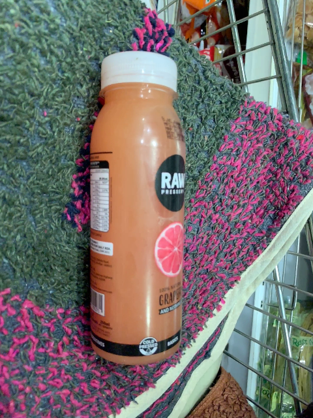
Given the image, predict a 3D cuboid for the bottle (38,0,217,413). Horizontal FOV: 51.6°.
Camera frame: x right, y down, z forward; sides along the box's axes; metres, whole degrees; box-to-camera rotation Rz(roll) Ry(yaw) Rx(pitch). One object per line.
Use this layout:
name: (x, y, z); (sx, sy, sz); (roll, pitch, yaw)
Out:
bottle: (-0.013, -0.006, 0.158); (0.060, 0.060, 0.160); (-3, 93, -47)
